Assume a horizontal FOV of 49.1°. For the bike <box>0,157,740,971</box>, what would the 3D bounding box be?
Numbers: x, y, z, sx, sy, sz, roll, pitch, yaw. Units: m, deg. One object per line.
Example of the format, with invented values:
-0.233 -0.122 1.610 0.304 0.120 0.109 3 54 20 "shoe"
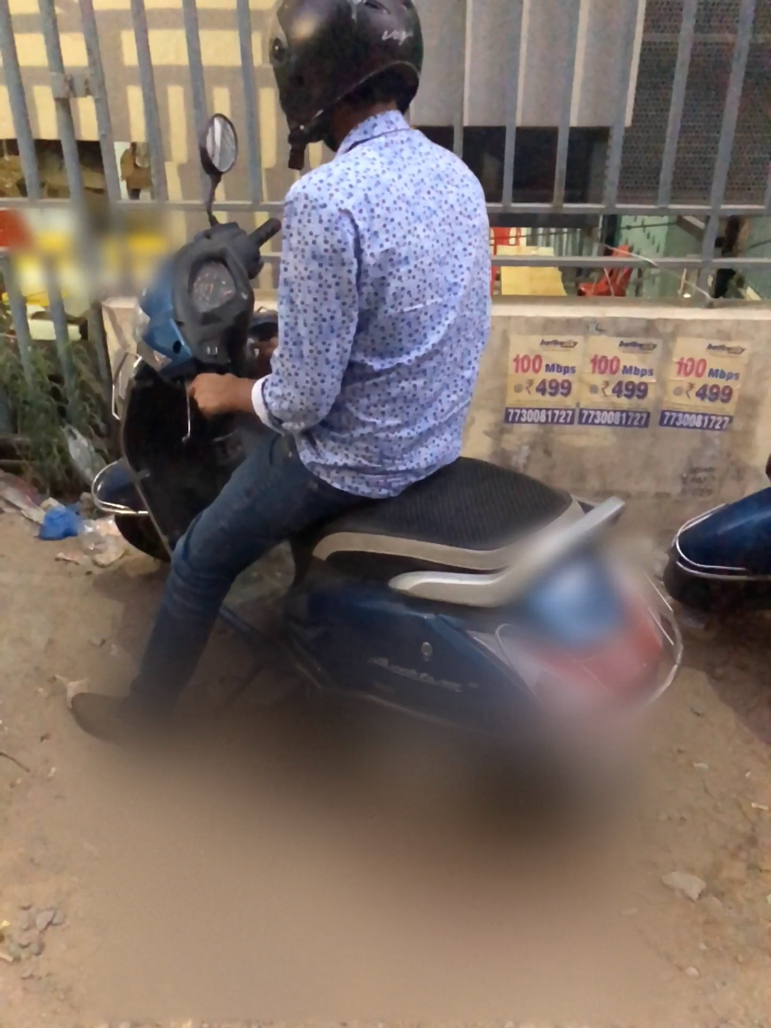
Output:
-0.193 -0.028 1.849 1.471 1.130 0.618 23 35 30 "bike"
